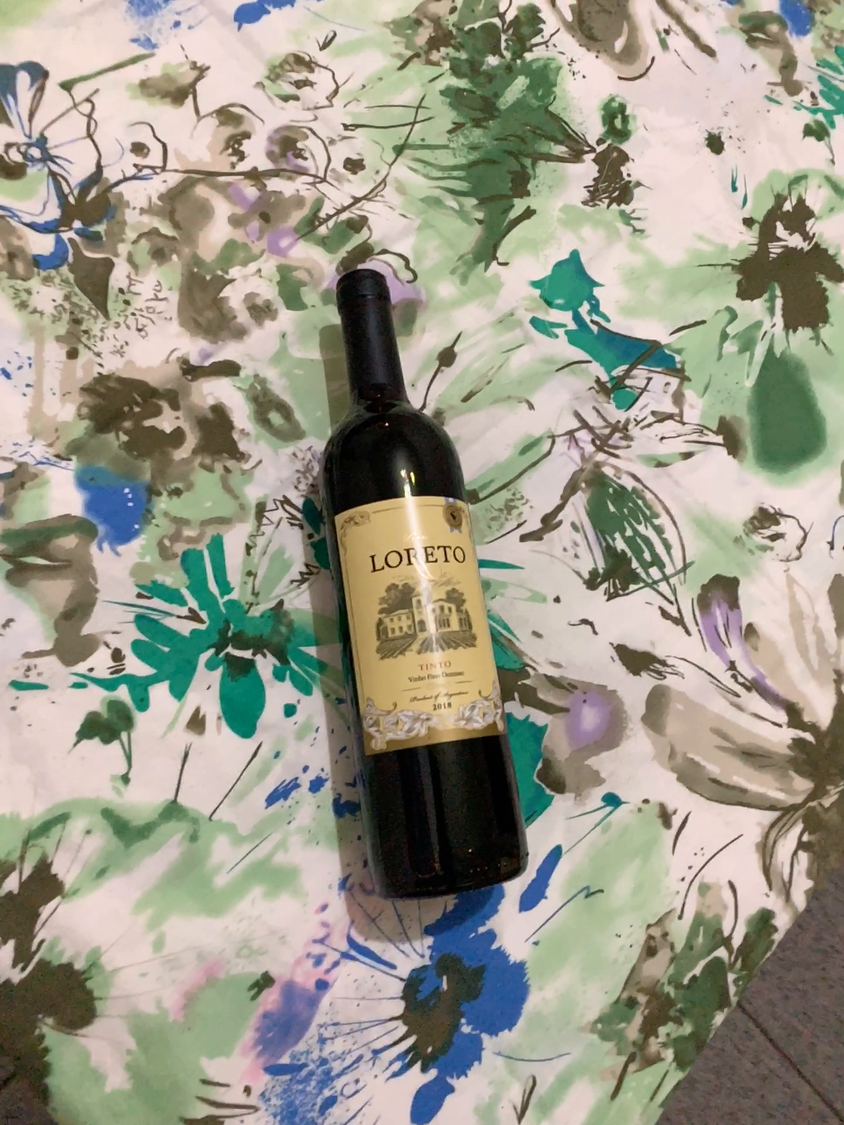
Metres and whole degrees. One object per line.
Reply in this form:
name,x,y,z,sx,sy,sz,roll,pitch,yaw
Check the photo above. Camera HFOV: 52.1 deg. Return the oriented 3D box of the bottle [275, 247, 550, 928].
bottle,-0.012,0.001,0.416,0.080,0.050,0.310,-5,77,-16
